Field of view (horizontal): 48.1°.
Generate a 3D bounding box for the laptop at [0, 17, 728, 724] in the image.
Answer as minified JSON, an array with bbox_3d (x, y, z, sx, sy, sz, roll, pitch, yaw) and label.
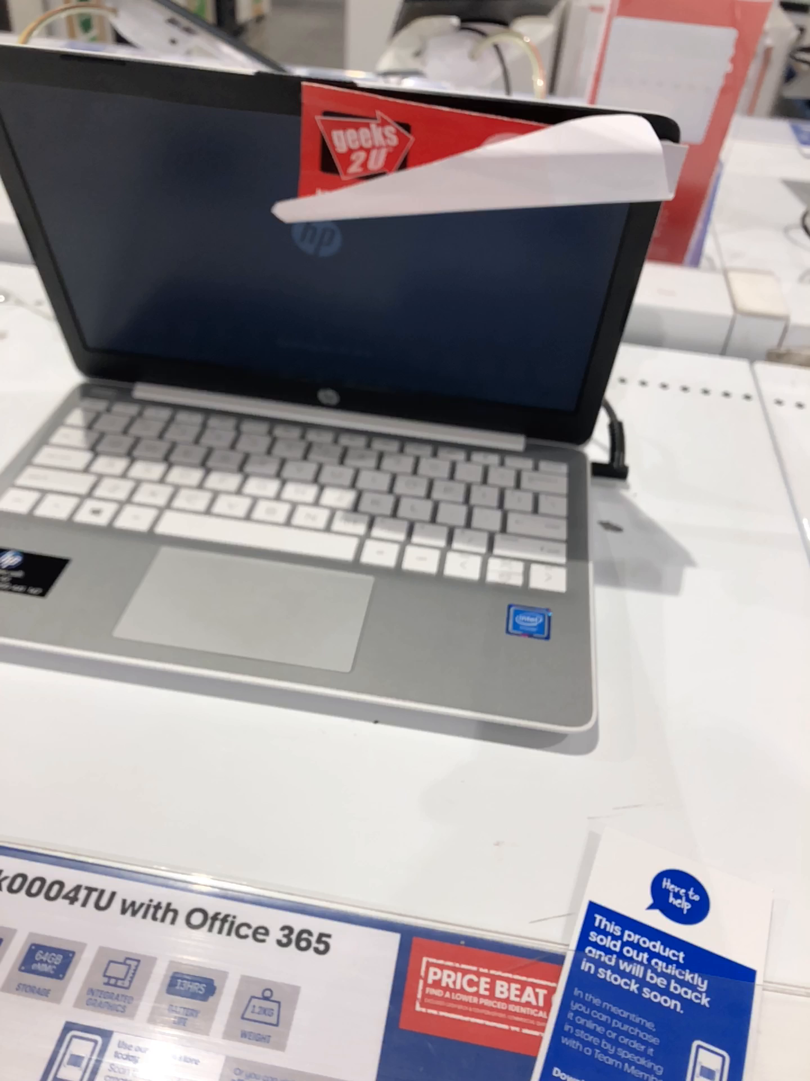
[{"bbox_3d":[-0.049,-0.076,0.355,0.273,0.173,0.184,8,40,4],"label":"laptop"}]
